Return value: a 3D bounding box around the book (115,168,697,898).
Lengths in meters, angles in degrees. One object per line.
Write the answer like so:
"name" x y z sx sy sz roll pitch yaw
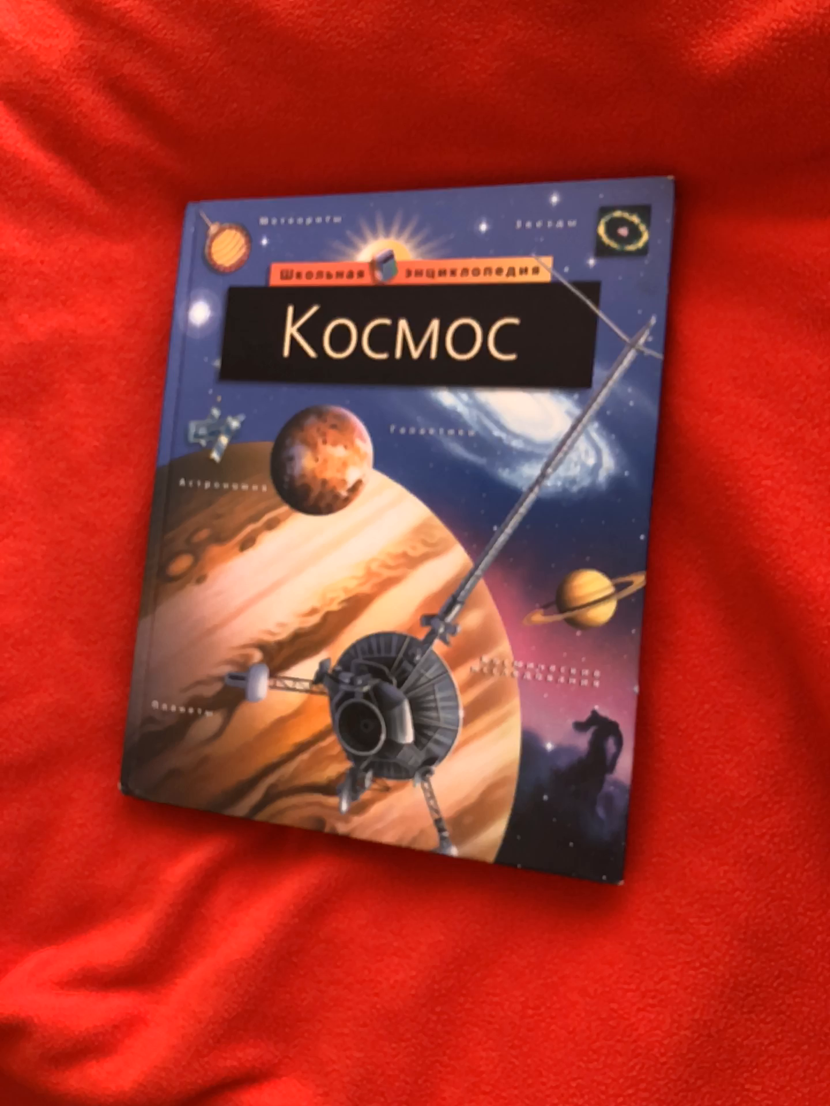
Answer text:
"book" -0.009 -0.018 0.408 0.235 0.030 0.284 4 87 18
